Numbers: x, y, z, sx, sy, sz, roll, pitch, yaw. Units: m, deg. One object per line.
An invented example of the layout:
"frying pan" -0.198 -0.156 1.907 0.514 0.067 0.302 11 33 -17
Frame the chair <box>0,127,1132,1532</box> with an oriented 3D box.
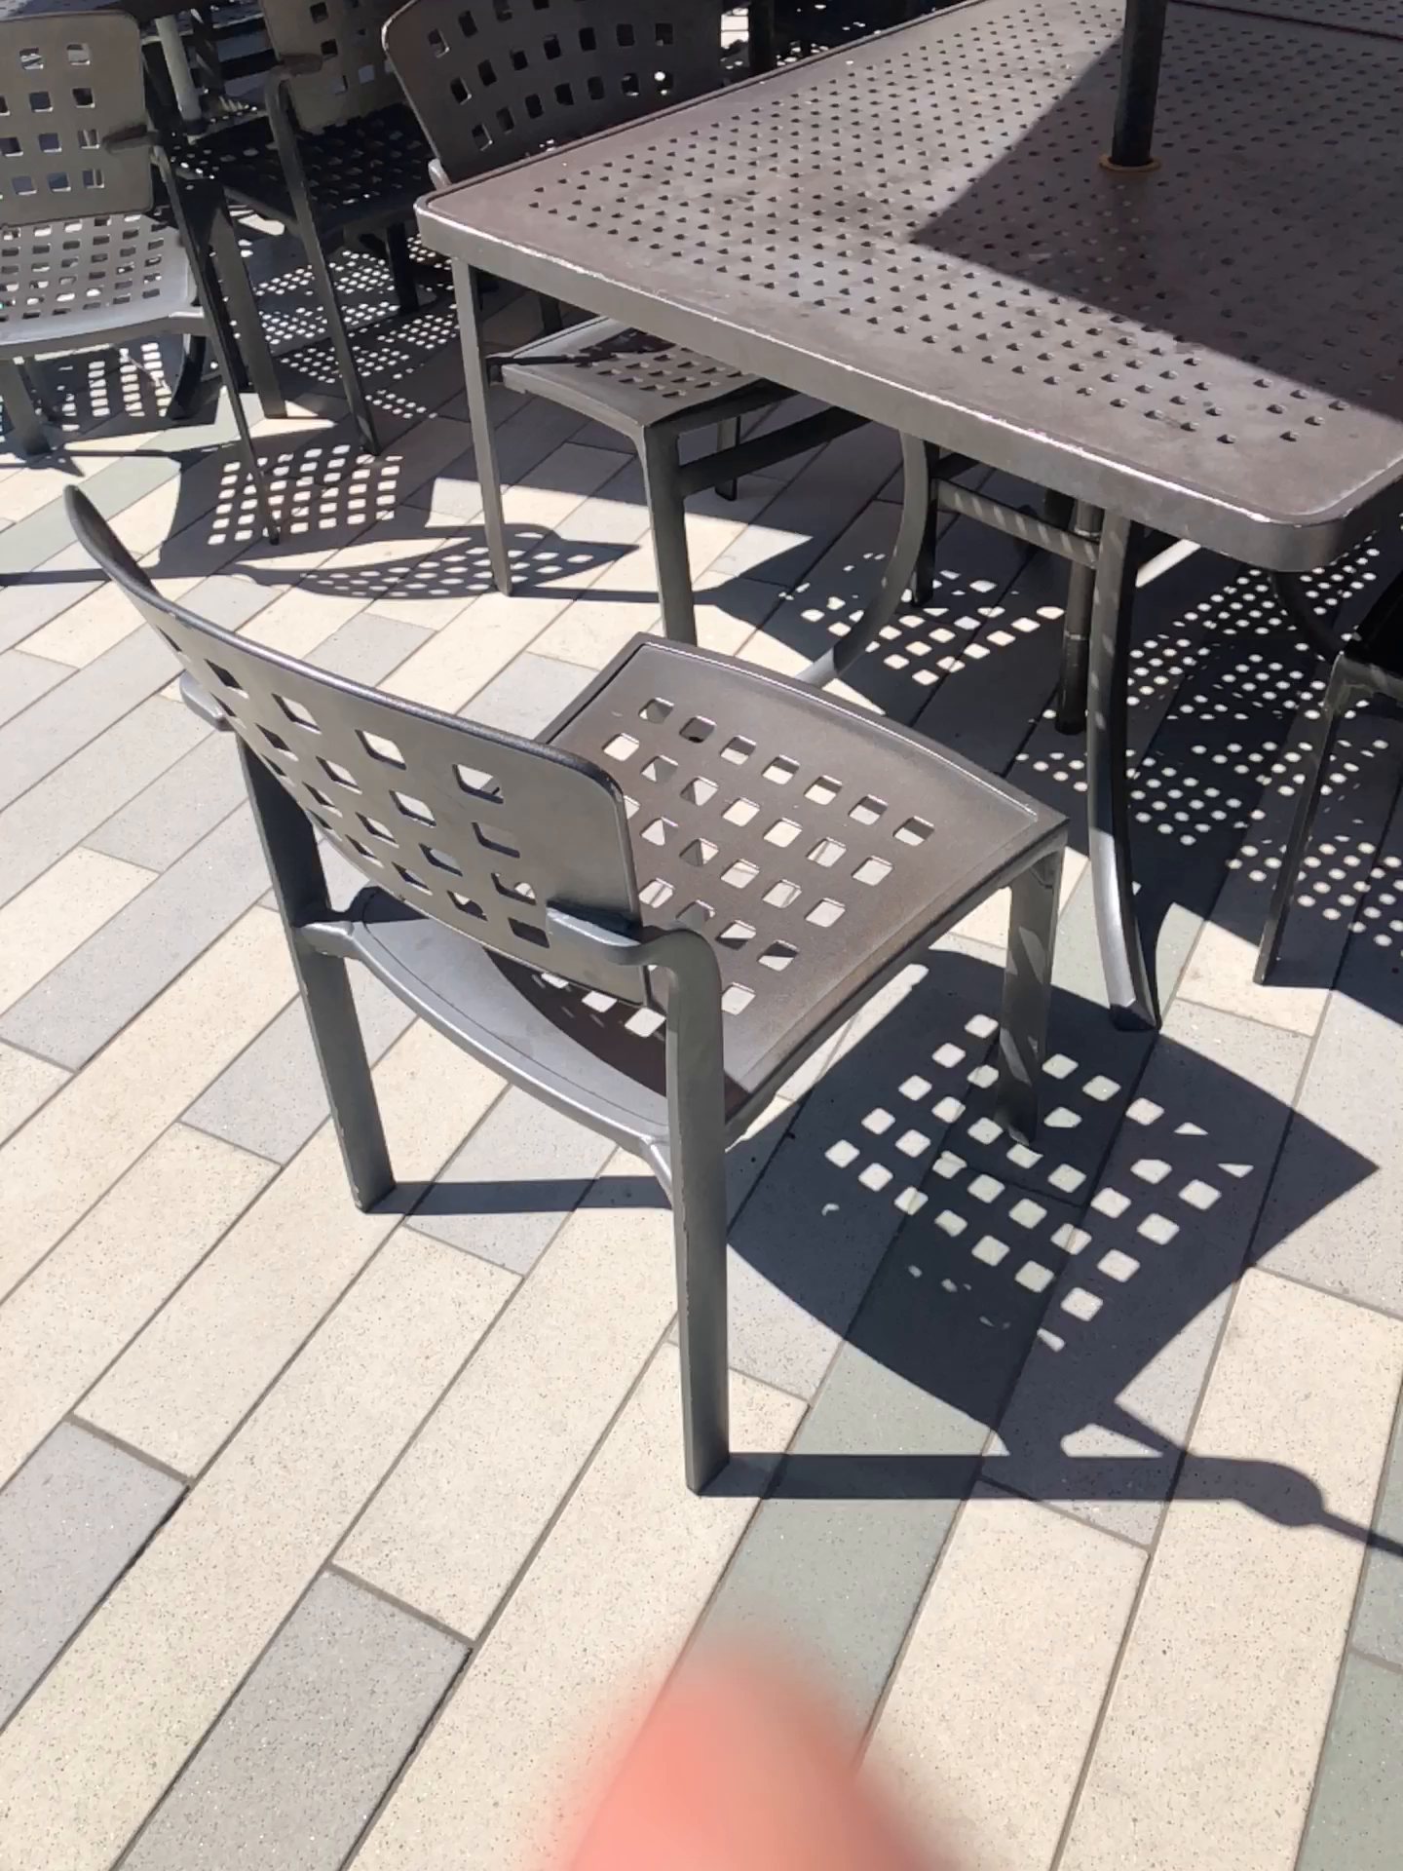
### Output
"chair" -0.076 -0.075 1.162 0.522 0.756 0.531 28 57 31
